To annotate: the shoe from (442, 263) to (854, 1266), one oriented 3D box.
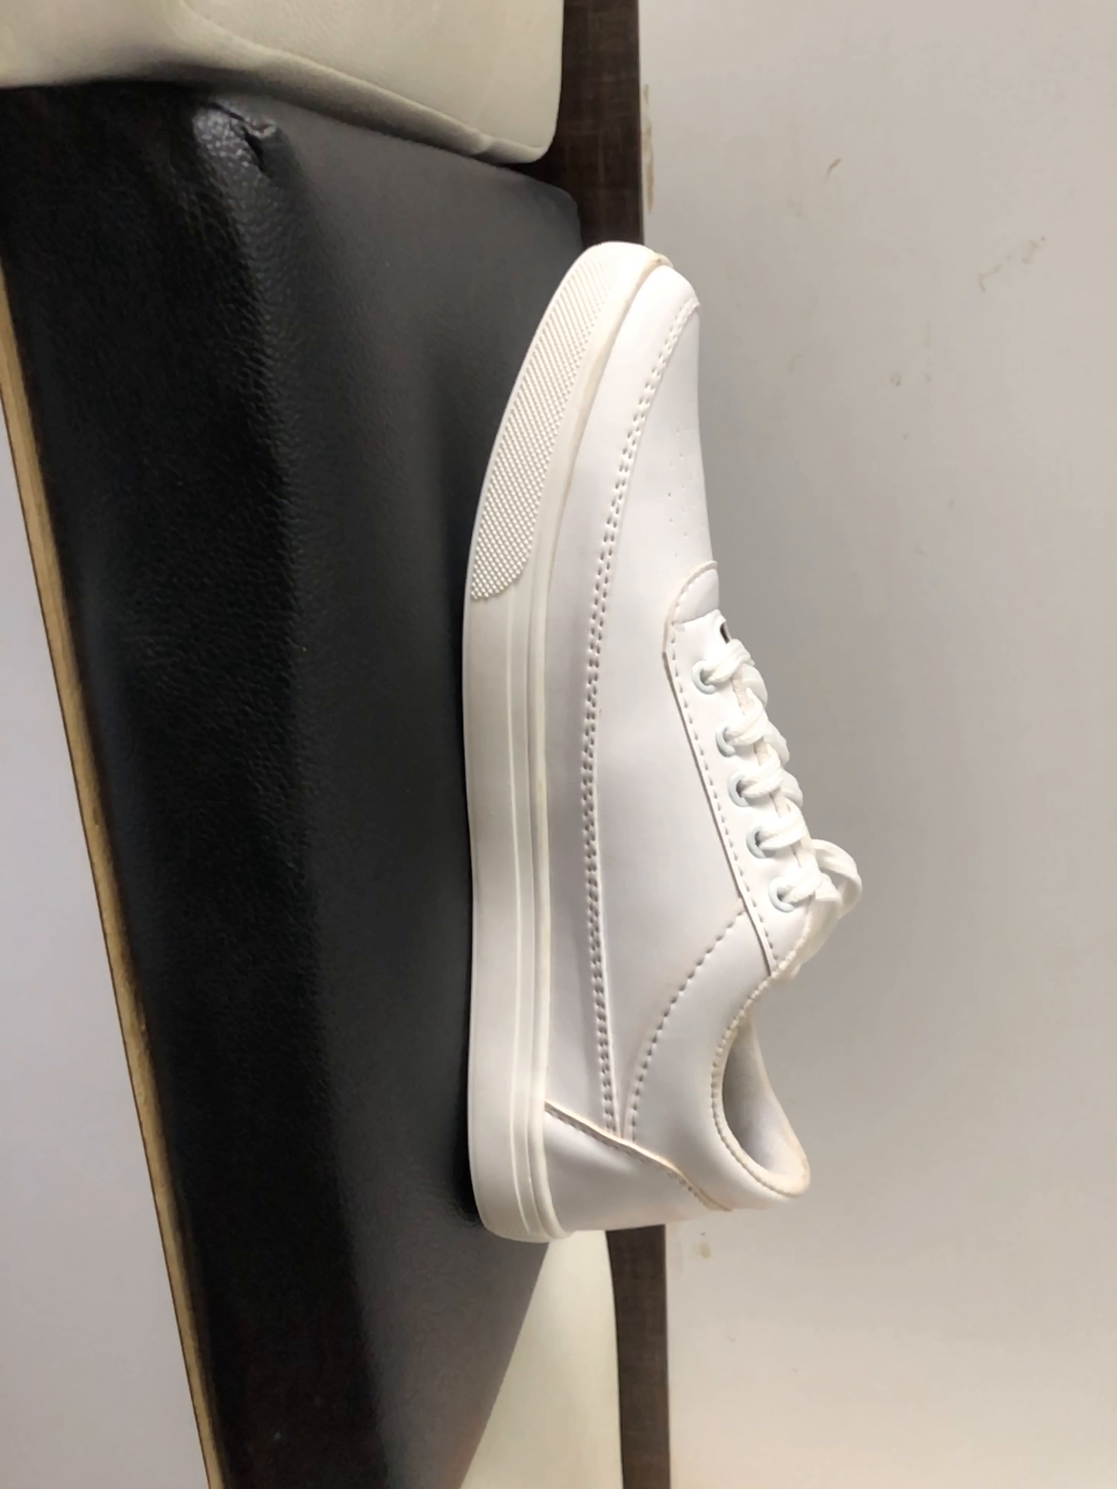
[{"bbox_3d":[0.039,0.003,0.421,0.130,0.110,0.290,-46,136,-73],"label":"shoe"}]
